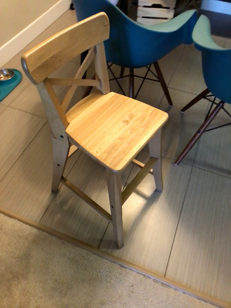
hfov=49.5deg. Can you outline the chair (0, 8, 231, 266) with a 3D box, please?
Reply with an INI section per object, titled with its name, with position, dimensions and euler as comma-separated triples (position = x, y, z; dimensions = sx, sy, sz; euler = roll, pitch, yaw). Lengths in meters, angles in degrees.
[chair]
position = -0.006, -0.027, 0.916
dimensions = 0.490, 0.686, 0.442
euler = 30, 56, 20
